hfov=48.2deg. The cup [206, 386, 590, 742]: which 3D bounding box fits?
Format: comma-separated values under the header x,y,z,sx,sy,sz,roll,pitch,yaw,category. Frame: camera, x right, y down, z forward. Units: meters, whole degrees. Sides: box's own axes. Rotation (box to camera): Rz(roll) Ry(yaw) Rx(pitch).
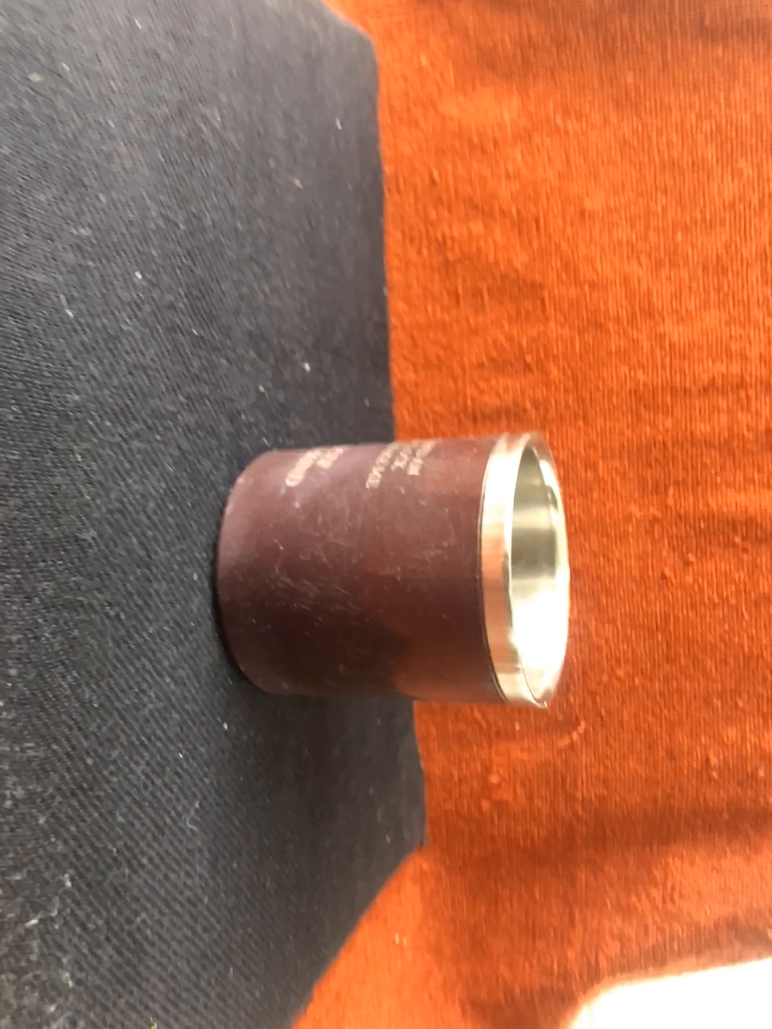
x,y,z,sx,sy,sz,roll,pitch,yaw,category
0.012,0.012,0.285,0.111,0.089,0.090,-6,94,-68,cup
